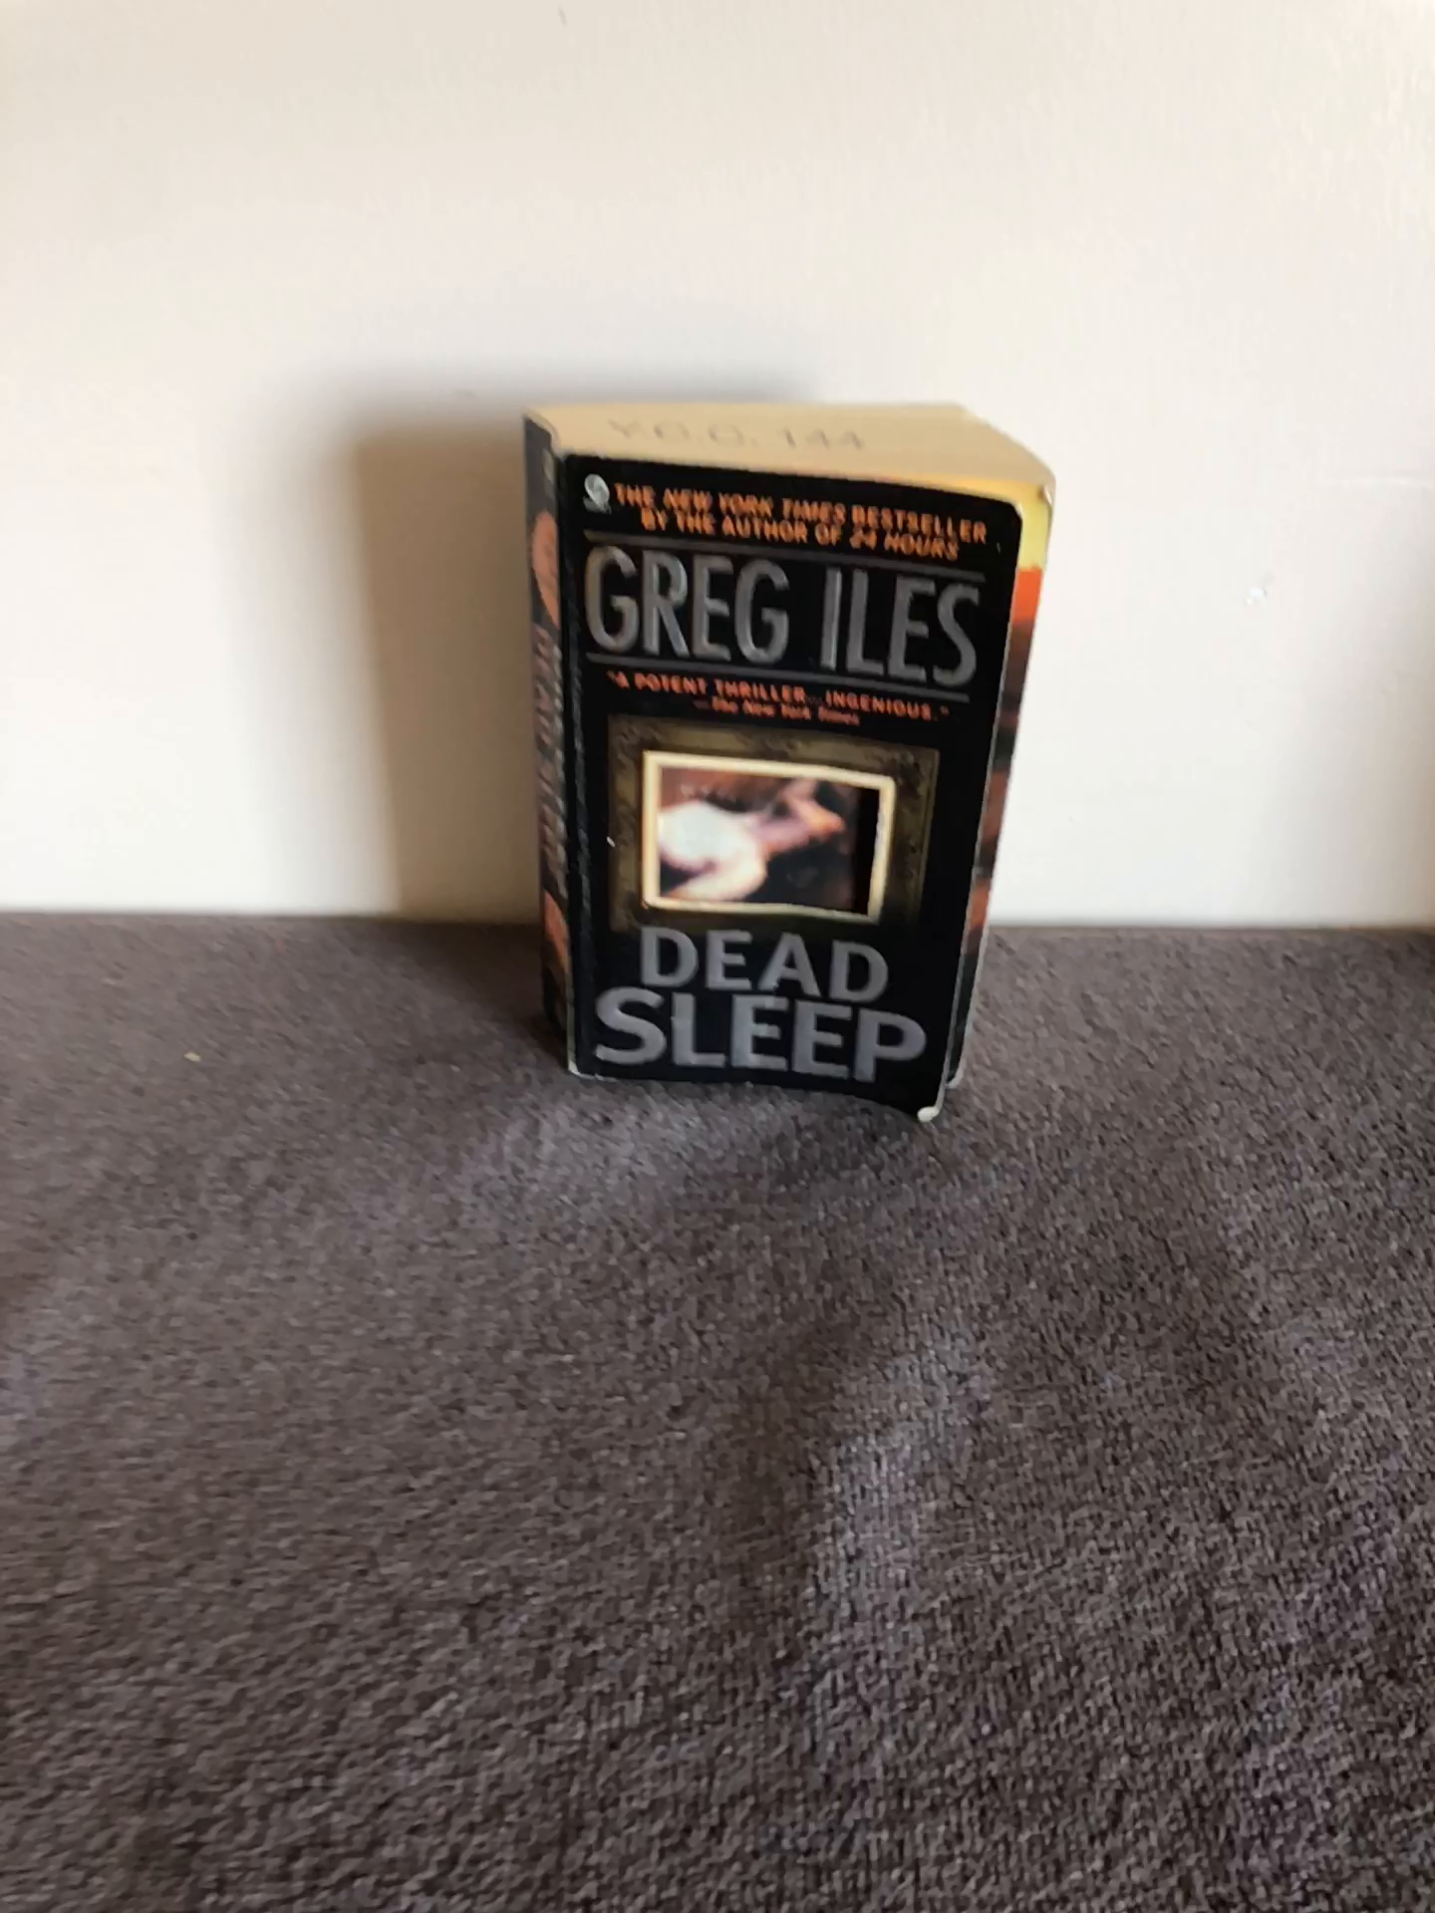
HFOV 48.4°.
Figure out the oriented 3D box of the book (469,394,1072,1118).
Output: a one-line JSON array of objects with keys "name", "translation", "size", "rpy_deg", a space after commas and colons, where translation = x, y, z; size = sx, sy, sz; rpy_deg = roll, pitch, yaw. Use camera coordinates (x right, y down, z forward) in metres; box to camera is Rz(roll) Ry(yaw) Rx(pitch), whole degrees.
[{"name": "book", "translation": [0.010, -0.045, 0.394], "size": [0.122, 0.163, 0.061], "rpy_deg": [2, 34, 1]}]
